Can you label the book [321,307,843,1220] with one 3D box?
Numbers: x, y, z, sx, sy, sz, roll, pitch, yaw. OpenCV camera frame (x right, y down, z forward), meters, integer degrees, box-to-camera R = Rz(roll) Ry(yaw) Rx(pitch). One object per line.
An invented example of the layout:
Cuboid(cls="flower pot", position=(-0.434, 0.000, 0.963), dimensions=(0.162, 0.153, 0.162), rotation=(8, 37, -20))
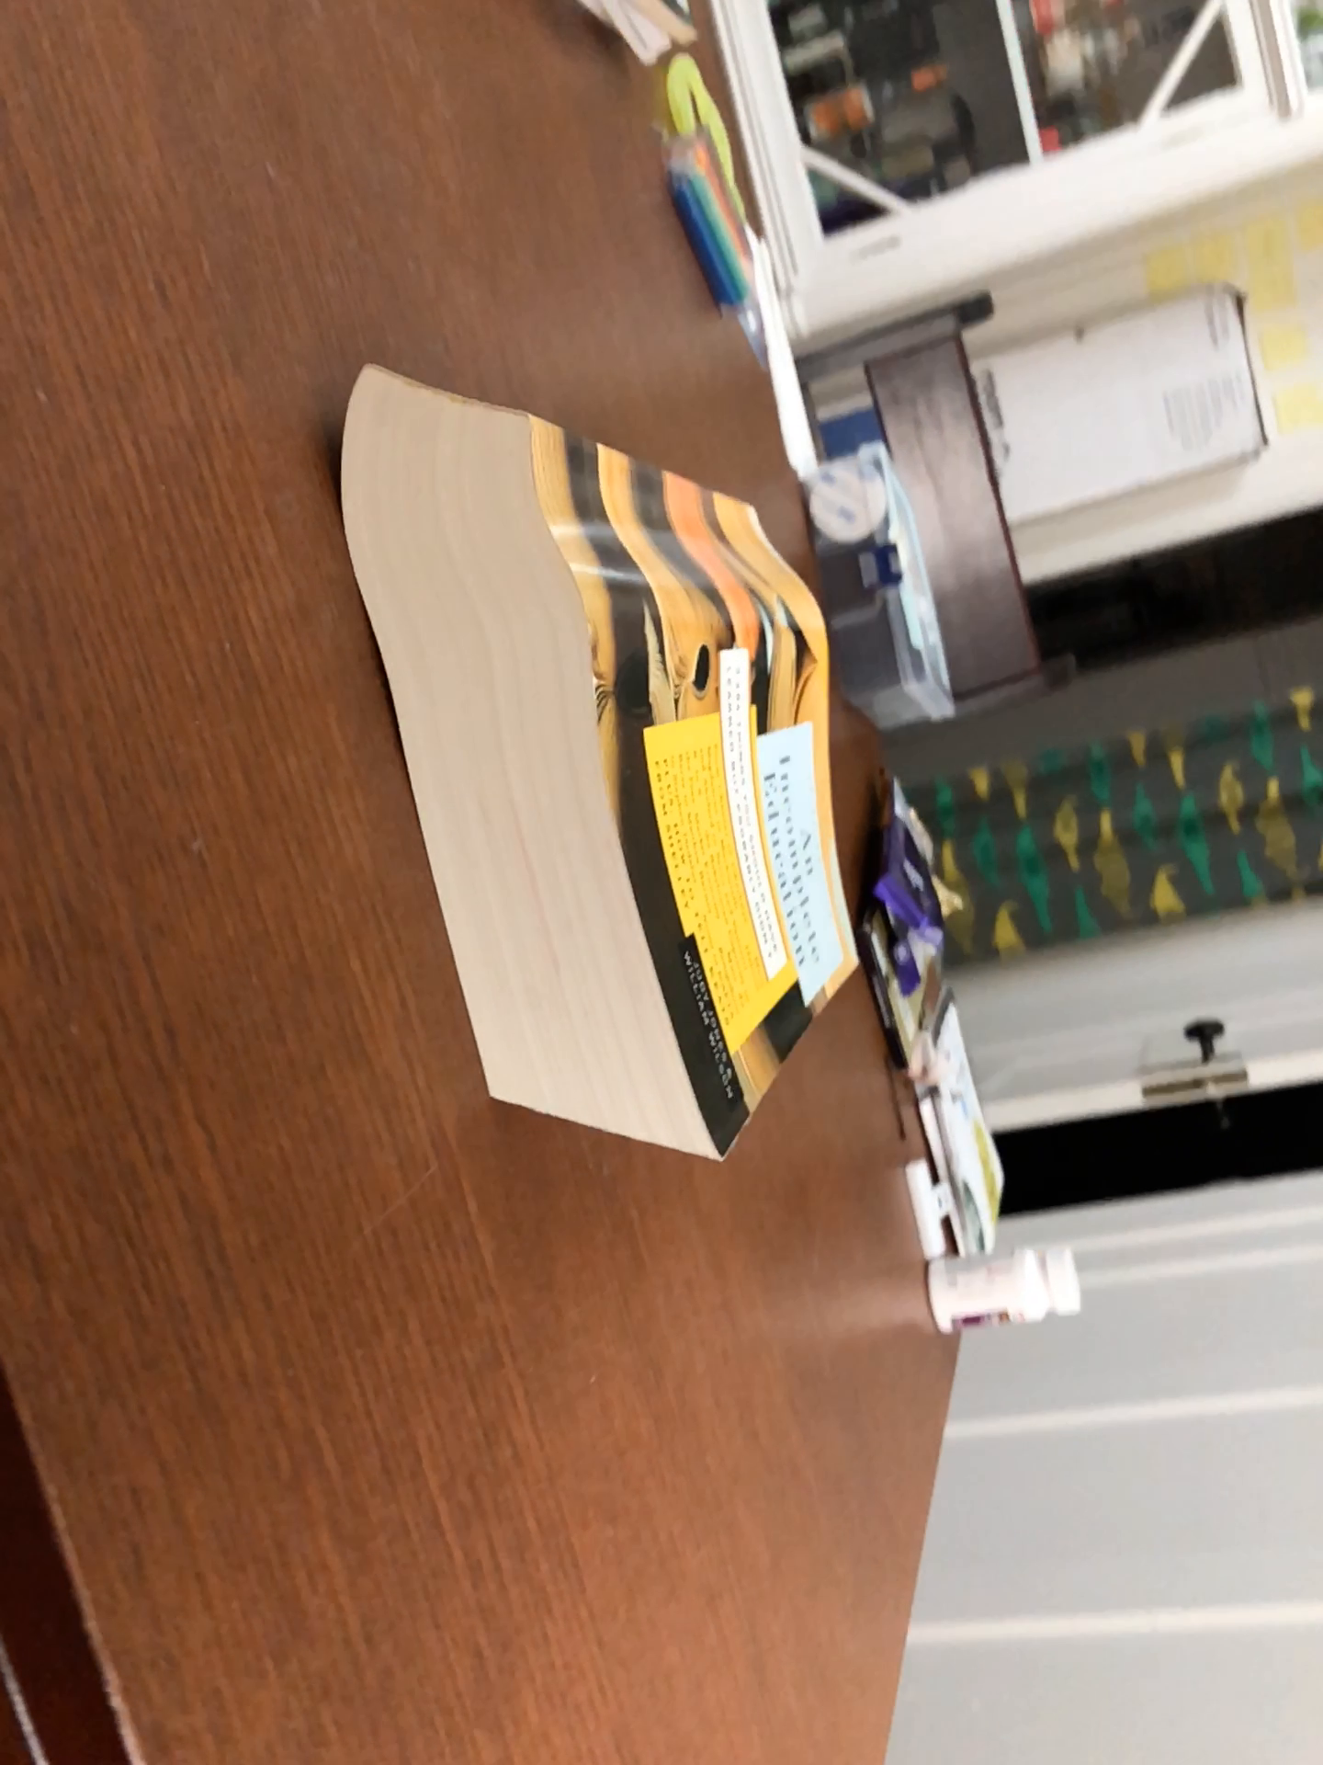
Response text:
Cuboid(cls="book", position=(-0.003, -0.043, 0.462), dimensions=(0.251, 0.060, 0.210), rotation=(-31, 117, -70))
